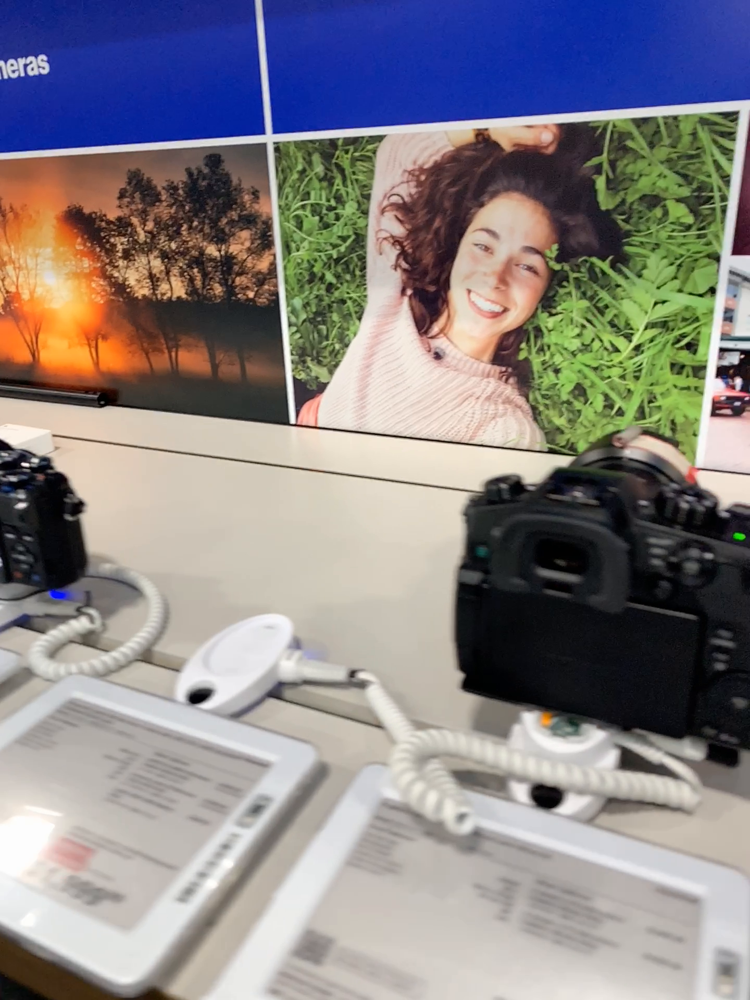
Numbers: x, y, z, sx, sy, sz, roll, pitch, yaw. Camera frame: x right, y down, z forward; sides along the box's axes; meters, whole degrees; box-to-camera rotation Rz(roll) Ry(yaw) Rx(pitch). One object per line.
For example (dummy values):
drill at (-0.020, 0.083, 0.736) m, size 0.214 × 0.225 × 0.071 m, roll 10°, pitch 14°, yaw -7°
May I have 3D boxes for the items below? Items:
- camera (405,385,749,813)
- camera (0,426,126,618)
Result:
camera at (0.118, 0.022, 0.369) m, size 0.140 × 0.099 × 0.201 m, roll 7°, pitch 25°, yaw 23°
camera at (-0.233, 0.008, 0.466) m, size 0.130 × 0.080 × 0.070 m, roll 7°, pitch 24°, yaw 23°
